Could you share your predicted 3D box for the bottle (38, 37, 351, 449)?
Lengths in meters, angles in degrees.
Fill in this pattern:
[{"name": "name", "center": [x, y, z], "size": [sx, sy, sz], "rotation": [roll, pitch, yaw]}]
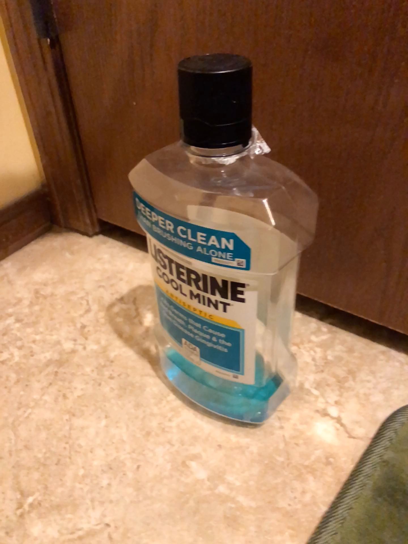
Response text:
[{"name": "bottle", "center": [-0.003, -0.016, 0.296], "size": [0.130, 0.219, 0.090], "rotation": [27, 47, 33]}]
